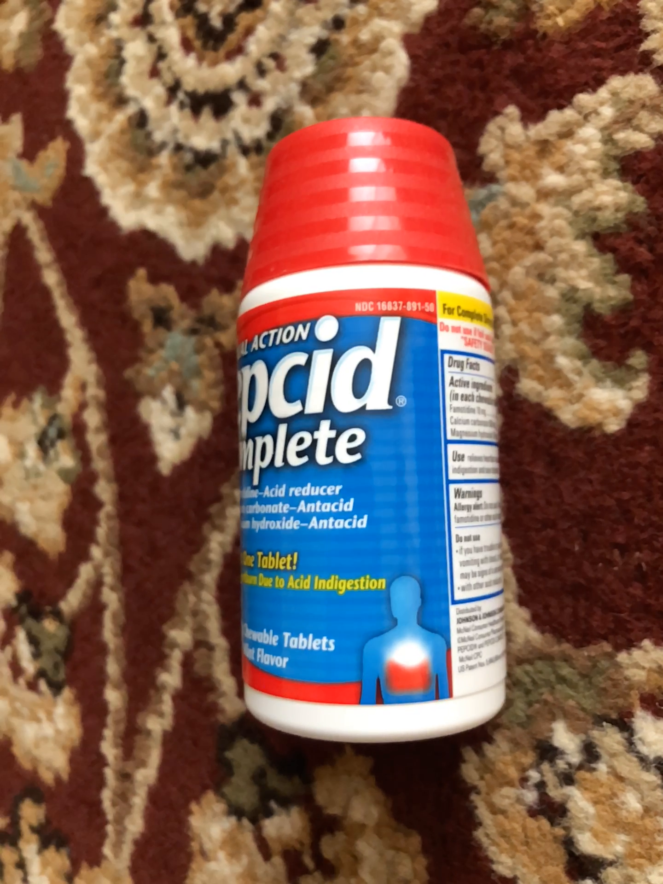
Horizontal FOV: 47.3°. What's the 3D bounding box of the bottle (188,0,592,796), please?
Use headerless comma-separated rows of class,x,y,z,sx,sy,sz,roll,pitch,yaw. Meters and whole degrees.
bottle,0.010,-0.008,0.162,0.060,0.060,0.130,-4,85,55
